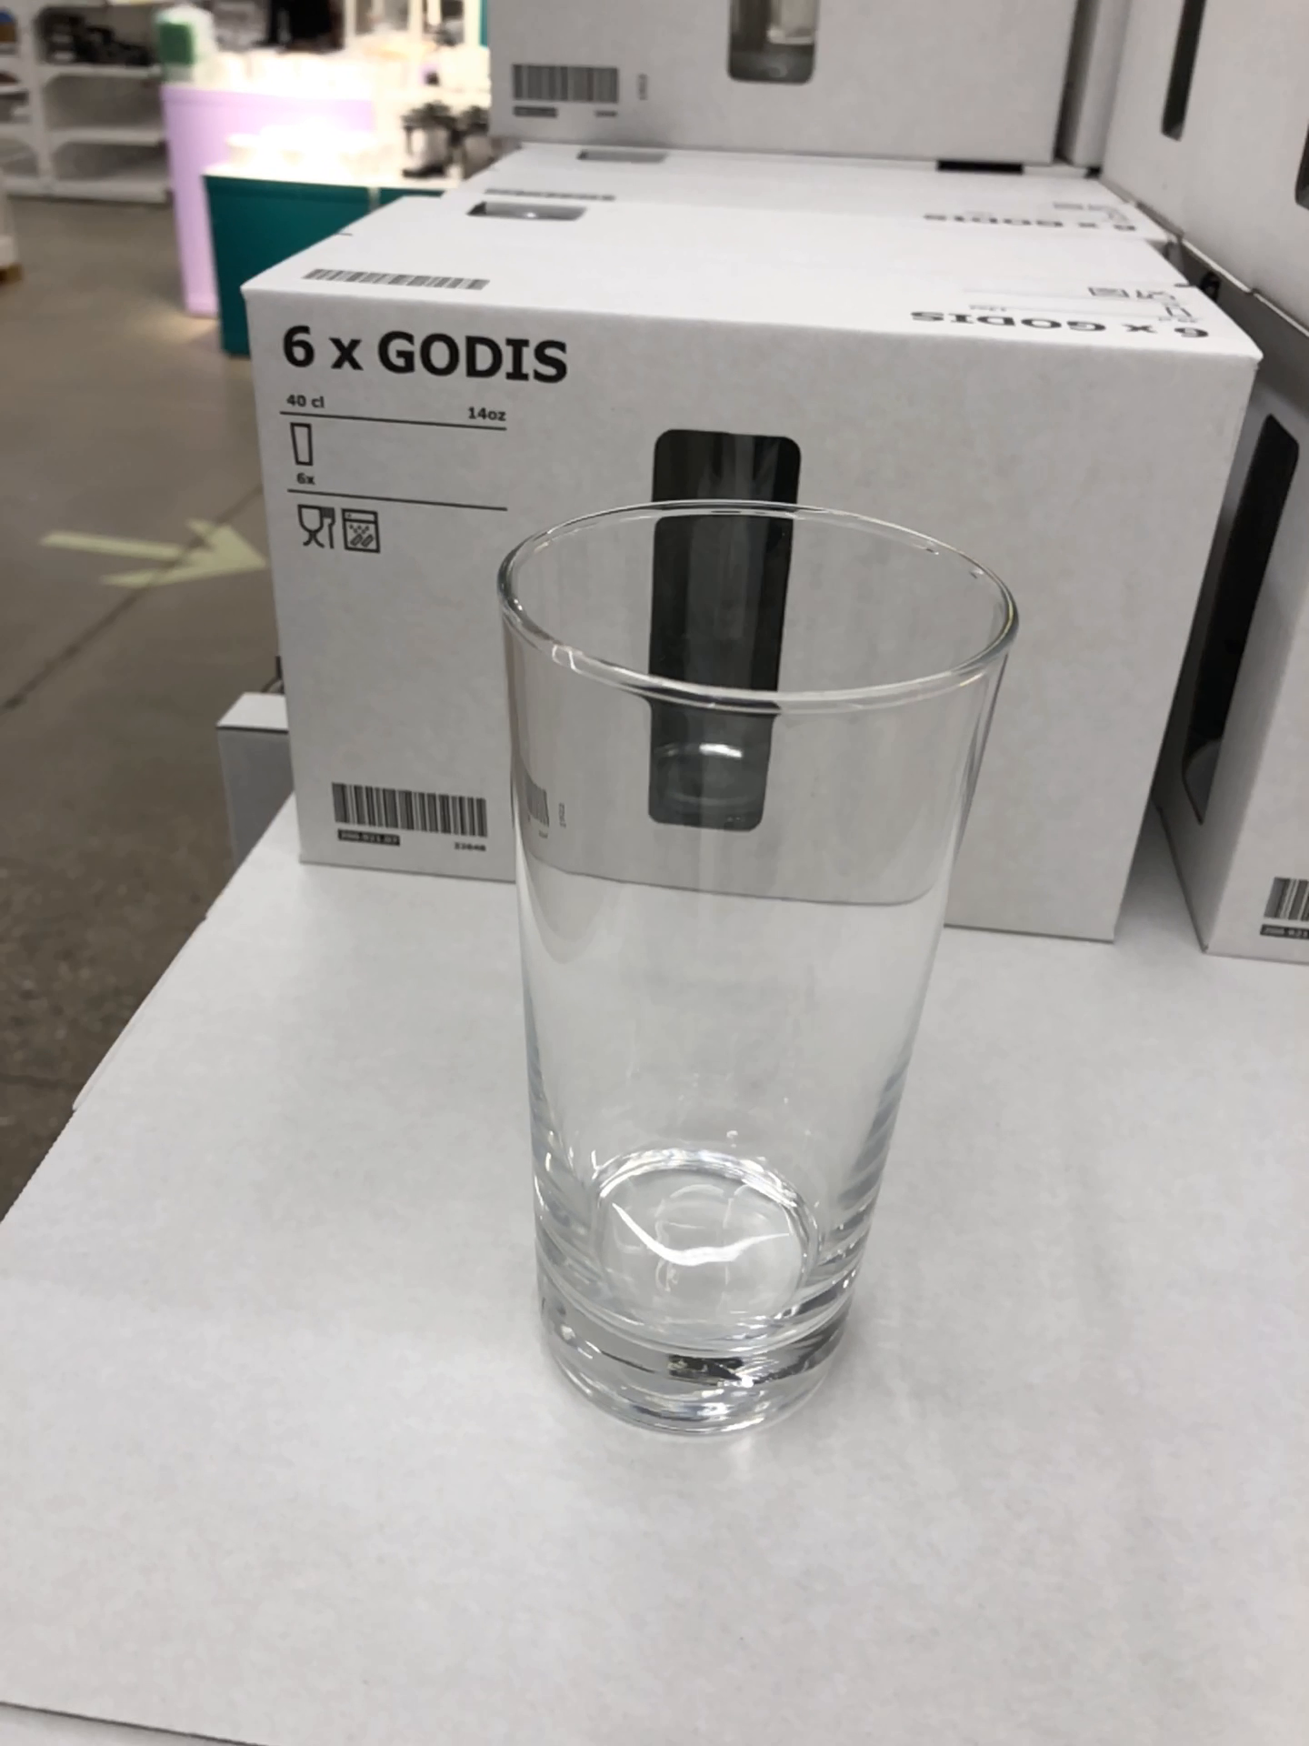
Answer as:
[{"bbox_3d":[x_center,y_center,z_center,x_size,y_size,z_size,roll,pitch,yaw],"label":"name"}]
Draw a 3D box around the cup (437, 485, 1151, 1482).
[{"bbox_3d":[0.012,0.017,0.251,0.080,0.139,0.080,2,32,-1],"label":"cup"}]
